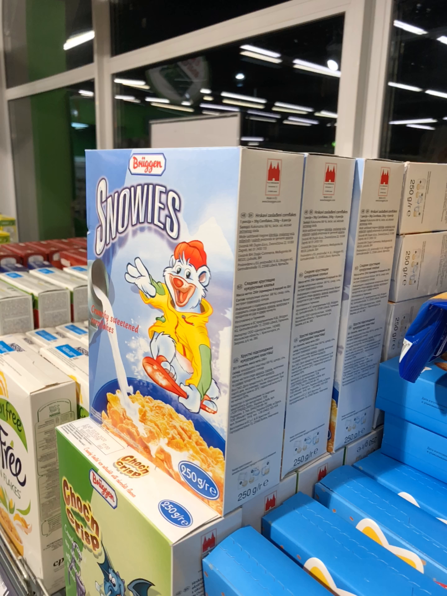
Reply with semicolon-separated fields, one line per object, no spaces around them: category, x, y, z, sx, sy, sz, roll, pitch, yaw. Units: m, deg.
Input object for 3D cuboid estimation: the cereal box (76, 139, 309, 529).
cereal box;-0.041;0.010;0.410;0.070;0.259;0.200;-9;17;-42
